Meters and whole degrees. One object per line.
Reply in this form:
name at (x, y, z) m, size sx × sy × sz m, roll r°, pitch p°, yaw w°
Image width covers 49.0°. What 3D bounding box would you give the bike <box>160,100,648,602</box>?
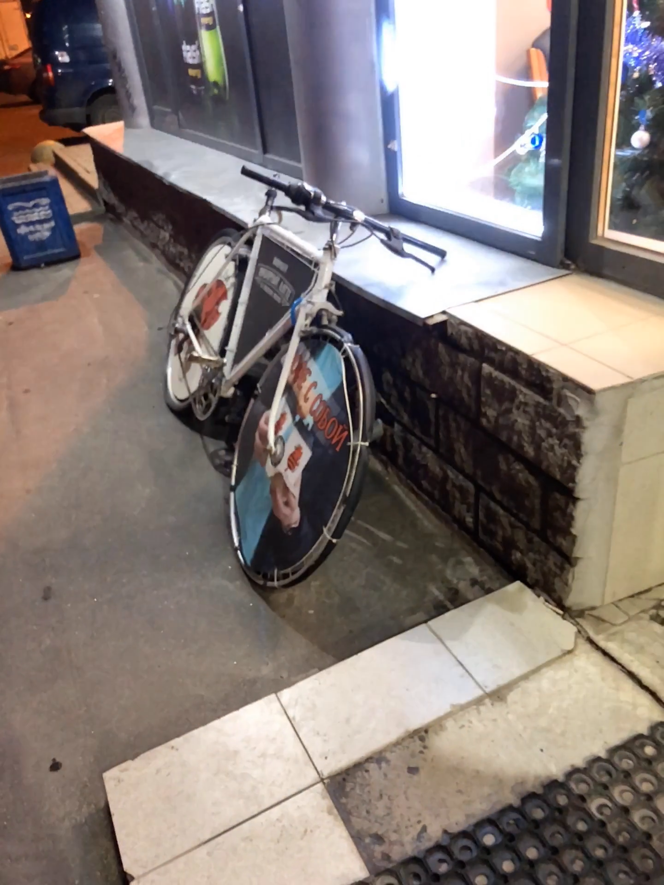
bike at (0.030, -0.437, 2.120) m, size 0.569 × 0.917 × 1.593 m, roll -16°, pitch 30°, yaw -16°
